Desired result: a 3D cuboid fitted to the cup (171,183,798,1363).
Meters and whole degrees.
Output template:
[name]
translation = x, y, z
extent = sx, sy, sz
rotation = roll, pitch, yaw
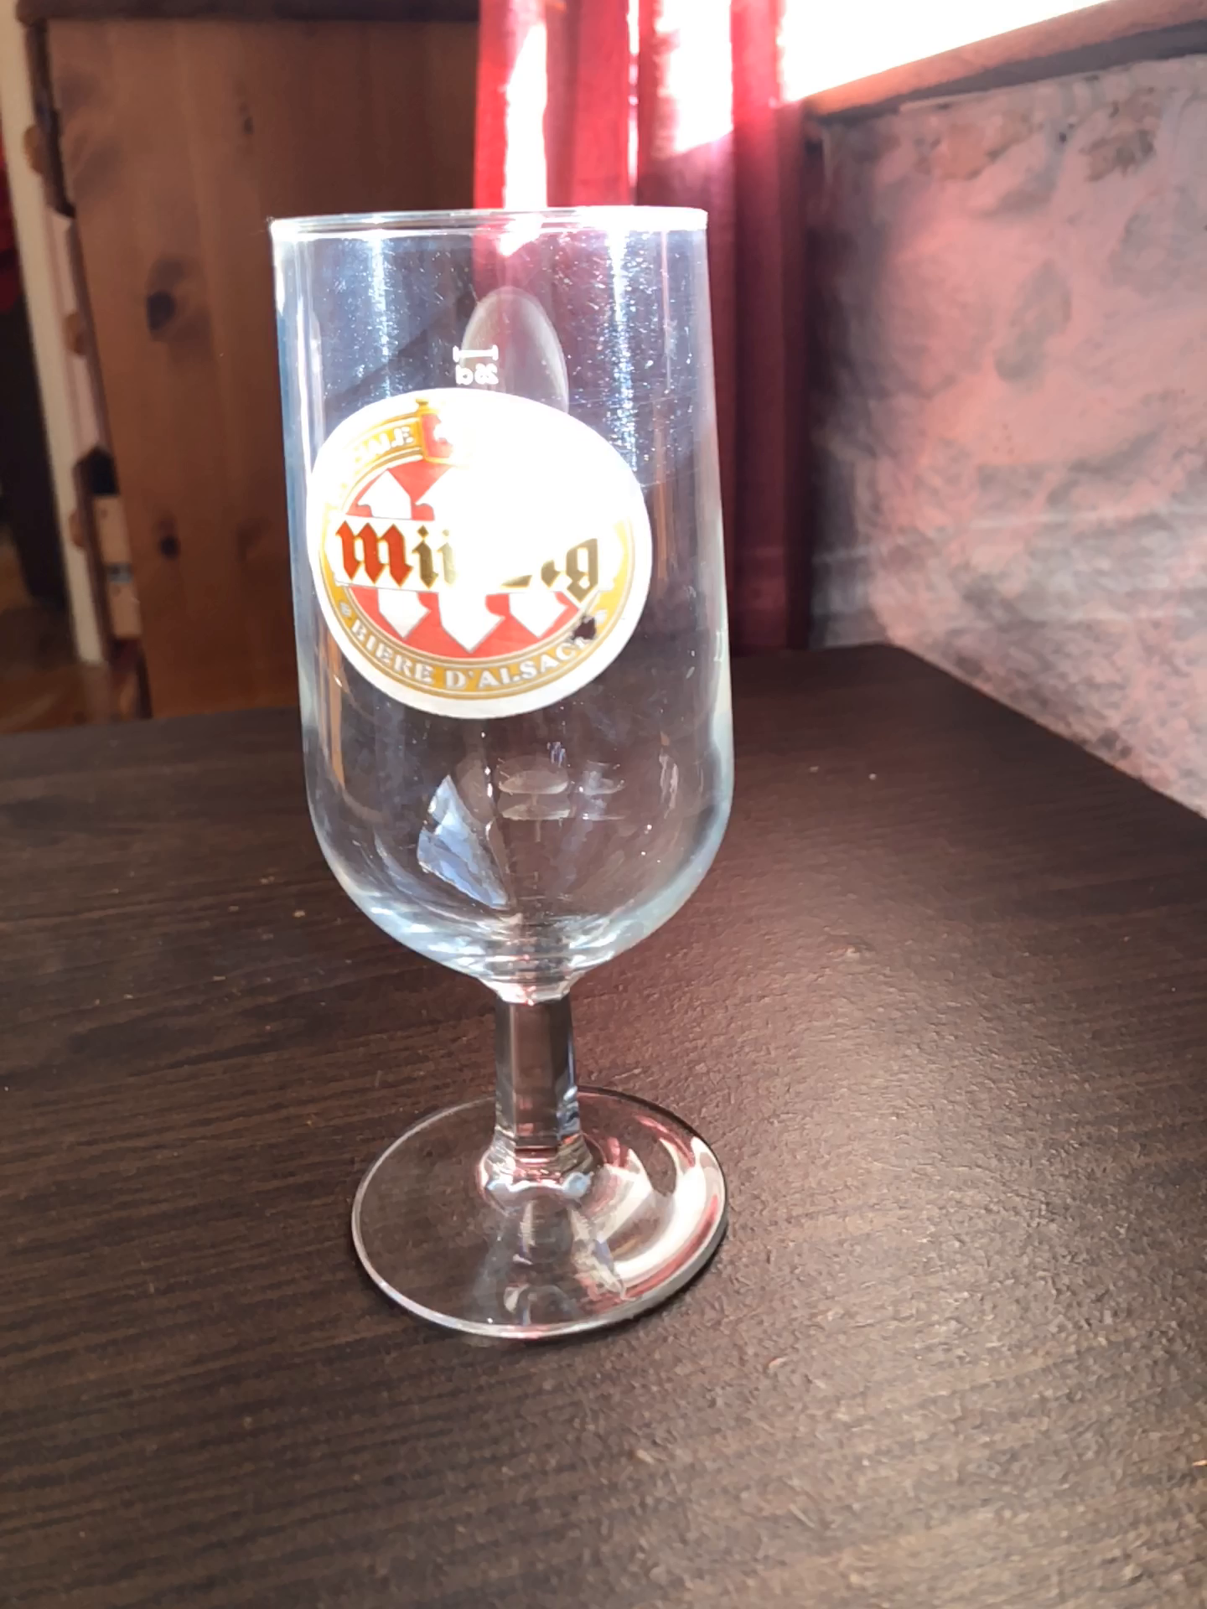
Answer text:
[cup]
translation = -0.009, -0.006, 0.205
extent = 0.067, 0.155, 0.070
rotation = 0, 20, 0
